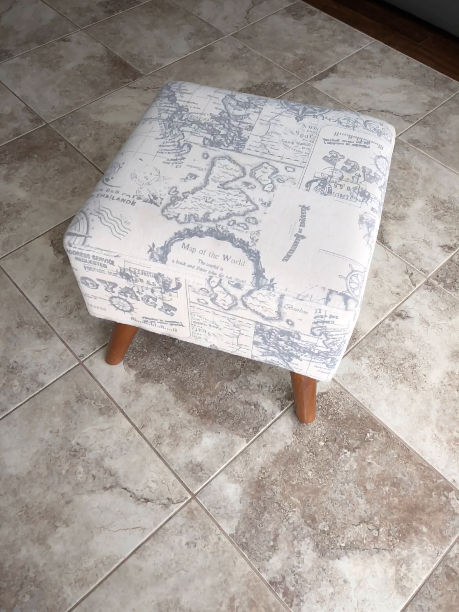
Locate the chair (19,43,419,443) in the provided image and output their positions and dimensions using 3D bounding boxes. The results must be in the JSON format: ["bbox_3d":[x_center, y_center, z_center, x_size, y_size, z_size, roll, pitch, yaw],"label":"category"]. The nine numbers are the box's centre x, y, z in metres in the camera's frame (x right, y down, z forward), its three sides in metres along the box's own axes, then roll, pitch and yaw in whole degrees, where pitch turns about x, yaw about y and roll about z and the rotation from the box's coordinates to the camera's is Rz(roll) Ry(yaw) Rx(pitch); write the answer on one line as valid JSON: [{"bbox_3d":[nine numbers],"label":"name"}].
[{"bbox_3d":[0.019,-0.113,0.825,0.420,0.319,0.471,16,57,9],"label":"chair"}]
